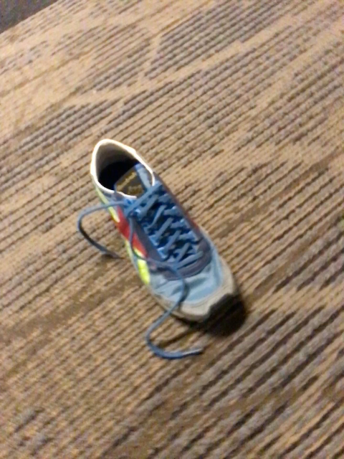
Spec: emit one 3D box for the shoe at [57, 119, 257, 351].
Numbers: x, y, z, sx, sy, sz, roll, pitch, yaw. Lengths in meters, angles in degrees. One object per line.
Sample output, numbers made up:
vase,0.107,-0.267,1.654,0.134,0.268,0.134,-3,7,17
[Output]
shoe,-0.023,-0.002,0.457,0.101,0.095,0.260,-34,61,-9
